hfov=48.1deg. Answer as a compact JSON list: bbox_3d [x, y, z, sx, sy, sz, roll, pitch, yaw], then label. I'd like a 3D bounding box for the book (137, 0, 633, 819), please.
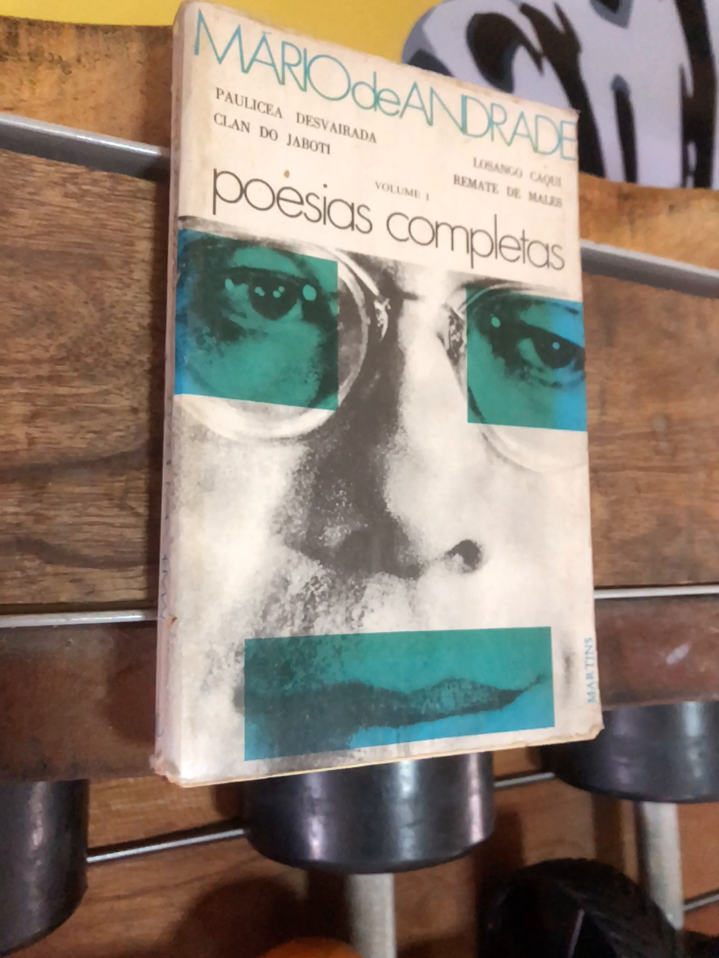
[{"bbox_3d":[0.015,-0.026,0.227,0.141,0.020,0.209,3,83,-27],"label":"book"}]
